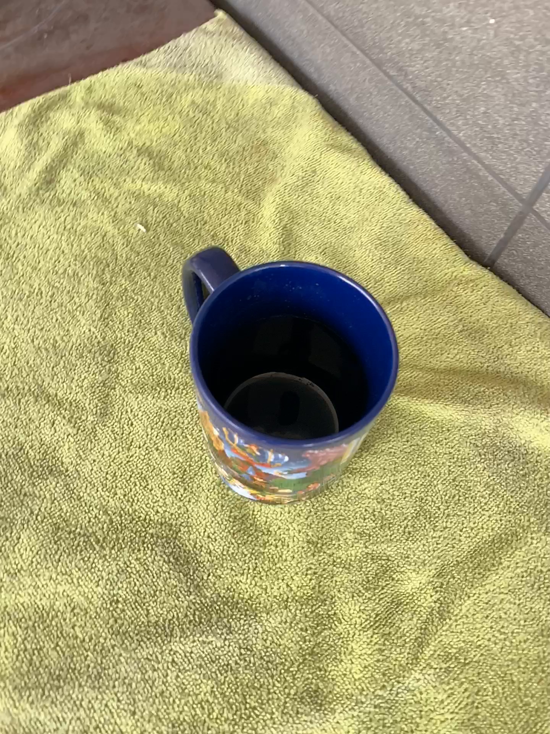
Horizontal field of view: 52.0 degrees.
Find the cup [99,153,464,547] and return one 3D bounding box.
[{"bbox_3d":[-0.004,-0.003,0.273,0.090,0.110,0.130,-28,69,-16],"label":"cup"}]
